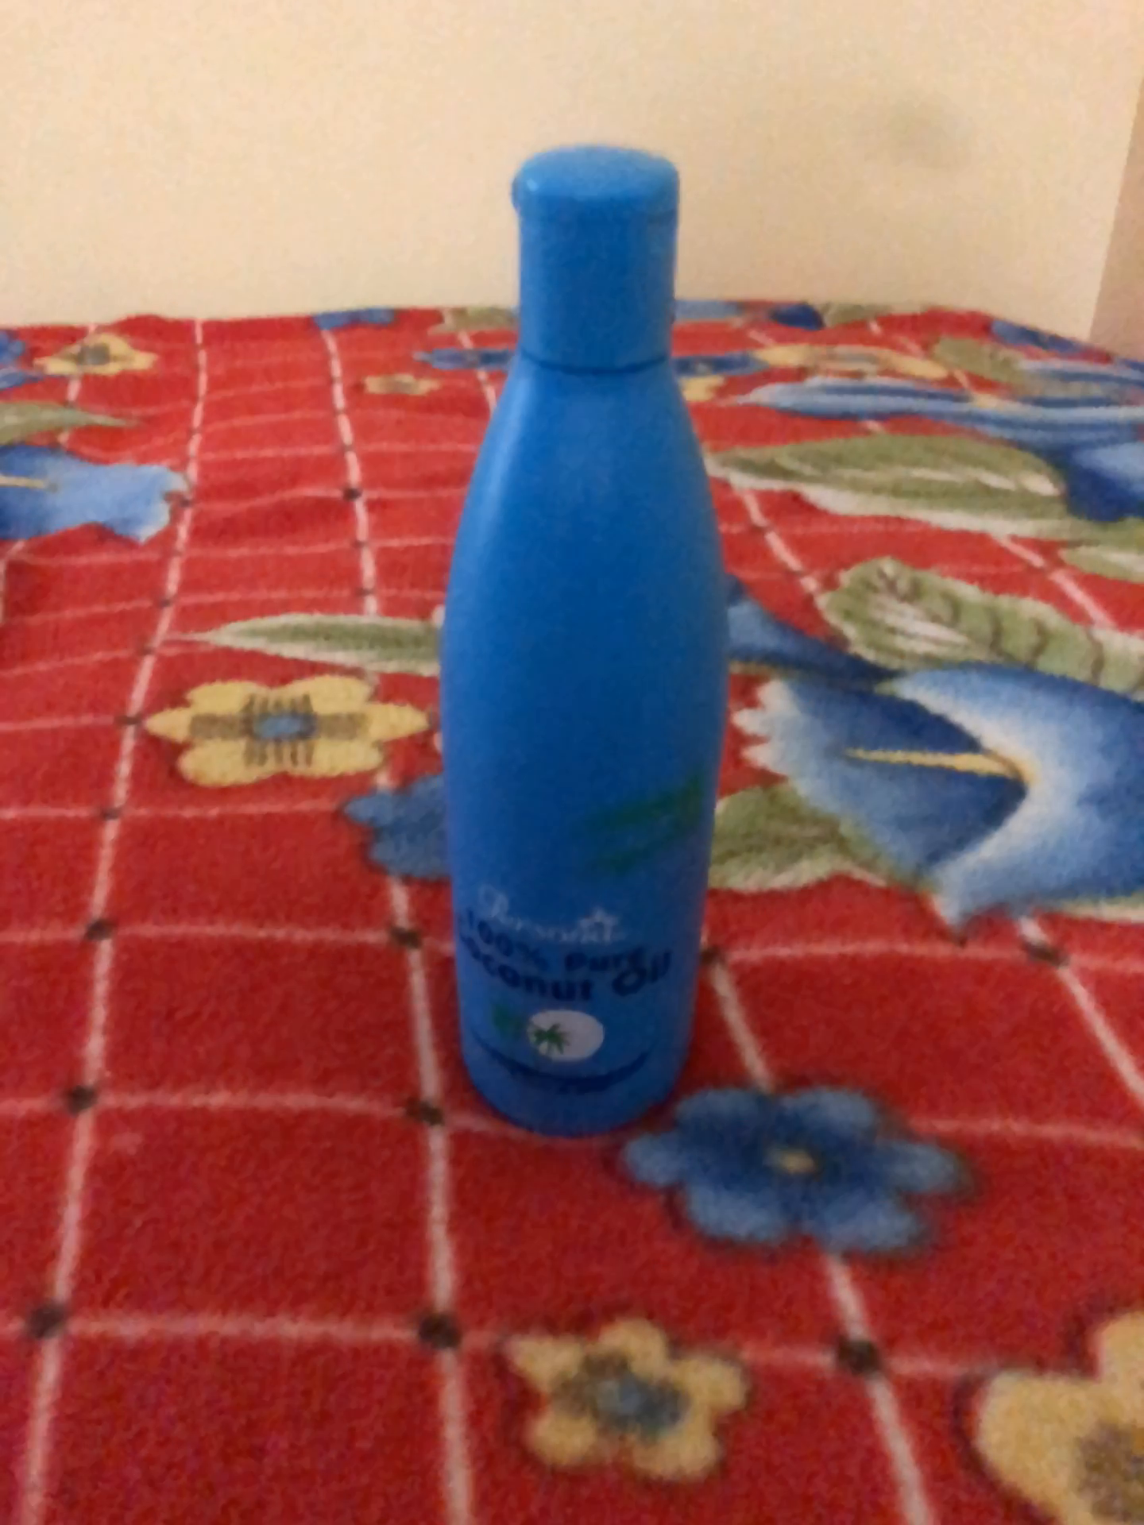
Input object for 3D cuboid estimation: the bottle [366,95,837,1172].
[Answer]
[{"bbox_3d":[0.007,-0.014,0.280,0.070,0.229,0.070,0,36,0],"label":"bottle"}]
